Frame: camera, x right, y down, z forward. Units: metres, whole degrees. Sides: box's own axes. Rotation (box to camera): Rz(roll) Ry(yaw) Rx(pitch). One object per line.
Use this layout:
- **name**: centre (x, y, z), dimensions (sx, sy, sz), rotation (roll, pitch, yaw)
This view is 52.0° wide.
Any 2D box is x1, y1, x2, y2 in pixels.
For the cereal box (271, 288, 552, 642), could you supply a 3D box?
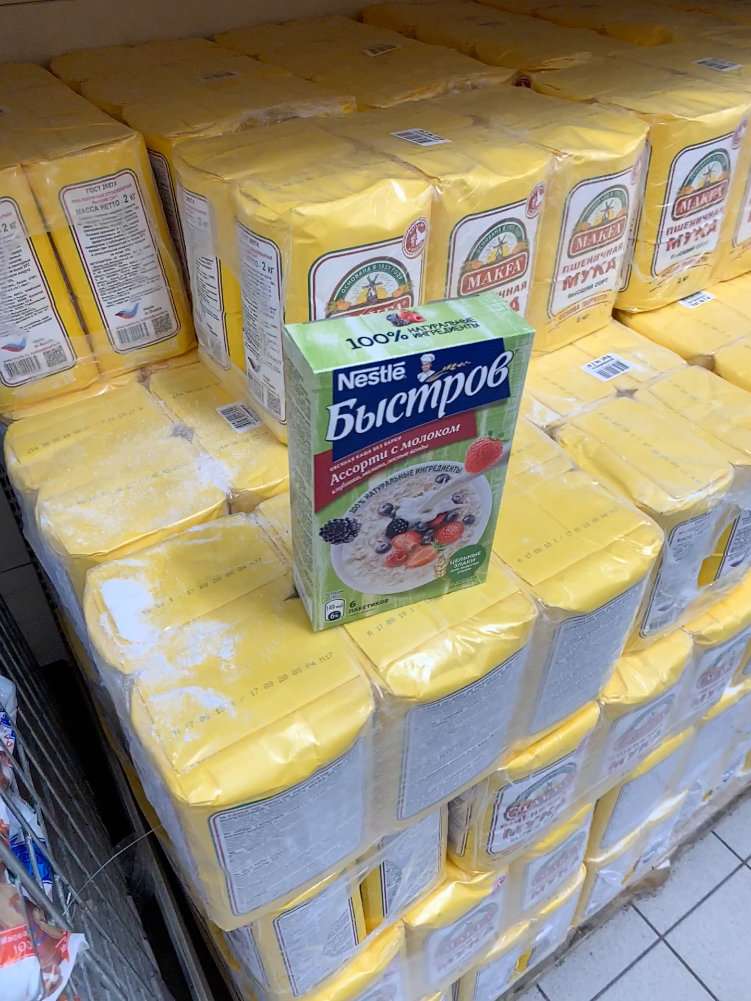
- **cereal box**: centre (0.012, -0.013, 0.417), dimensions (0.120, 0.178, 0.050), rotation (-14, 46, -18)
